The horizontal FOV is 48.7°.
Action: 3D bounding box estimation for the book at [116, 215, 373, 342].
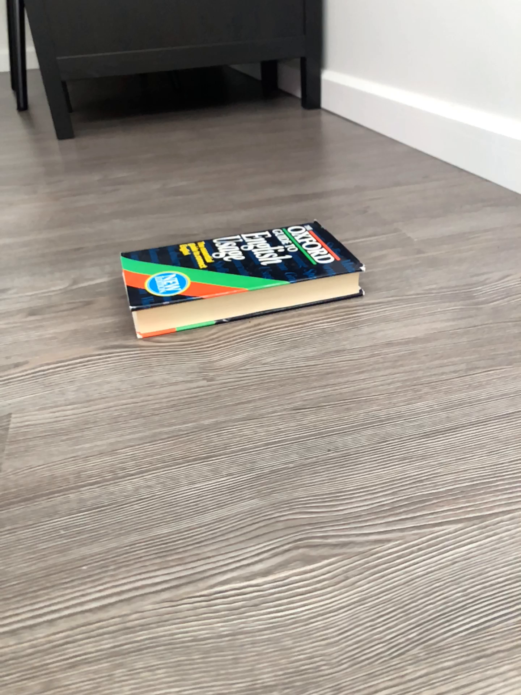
[{"bbox_3d":[-0.024,-0.079,0.589,0.230,0.035,0.151,-11,32,-11],"label":"book"}]
